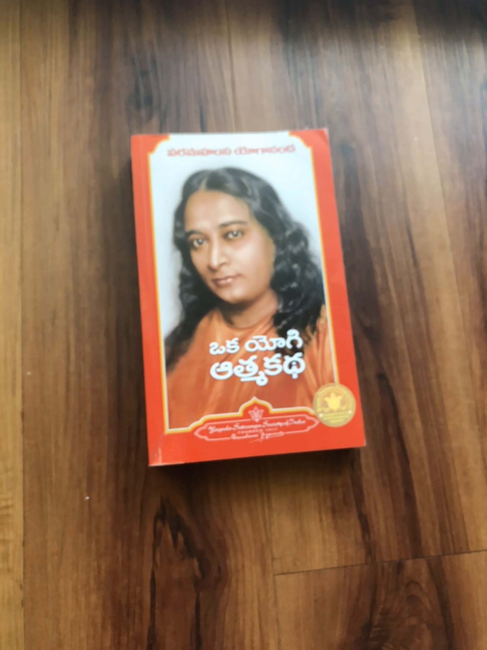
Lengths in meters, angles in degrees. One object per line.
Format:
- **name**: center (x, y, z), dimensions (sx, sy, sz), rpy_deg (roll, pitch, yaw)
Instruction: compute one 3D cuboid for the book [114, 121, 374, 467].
- **book**: center (-0.004, -0.025, 0.358), dimensions (0.148, 0.030, 0.214), rpy_deg (-3, 80, -6)
